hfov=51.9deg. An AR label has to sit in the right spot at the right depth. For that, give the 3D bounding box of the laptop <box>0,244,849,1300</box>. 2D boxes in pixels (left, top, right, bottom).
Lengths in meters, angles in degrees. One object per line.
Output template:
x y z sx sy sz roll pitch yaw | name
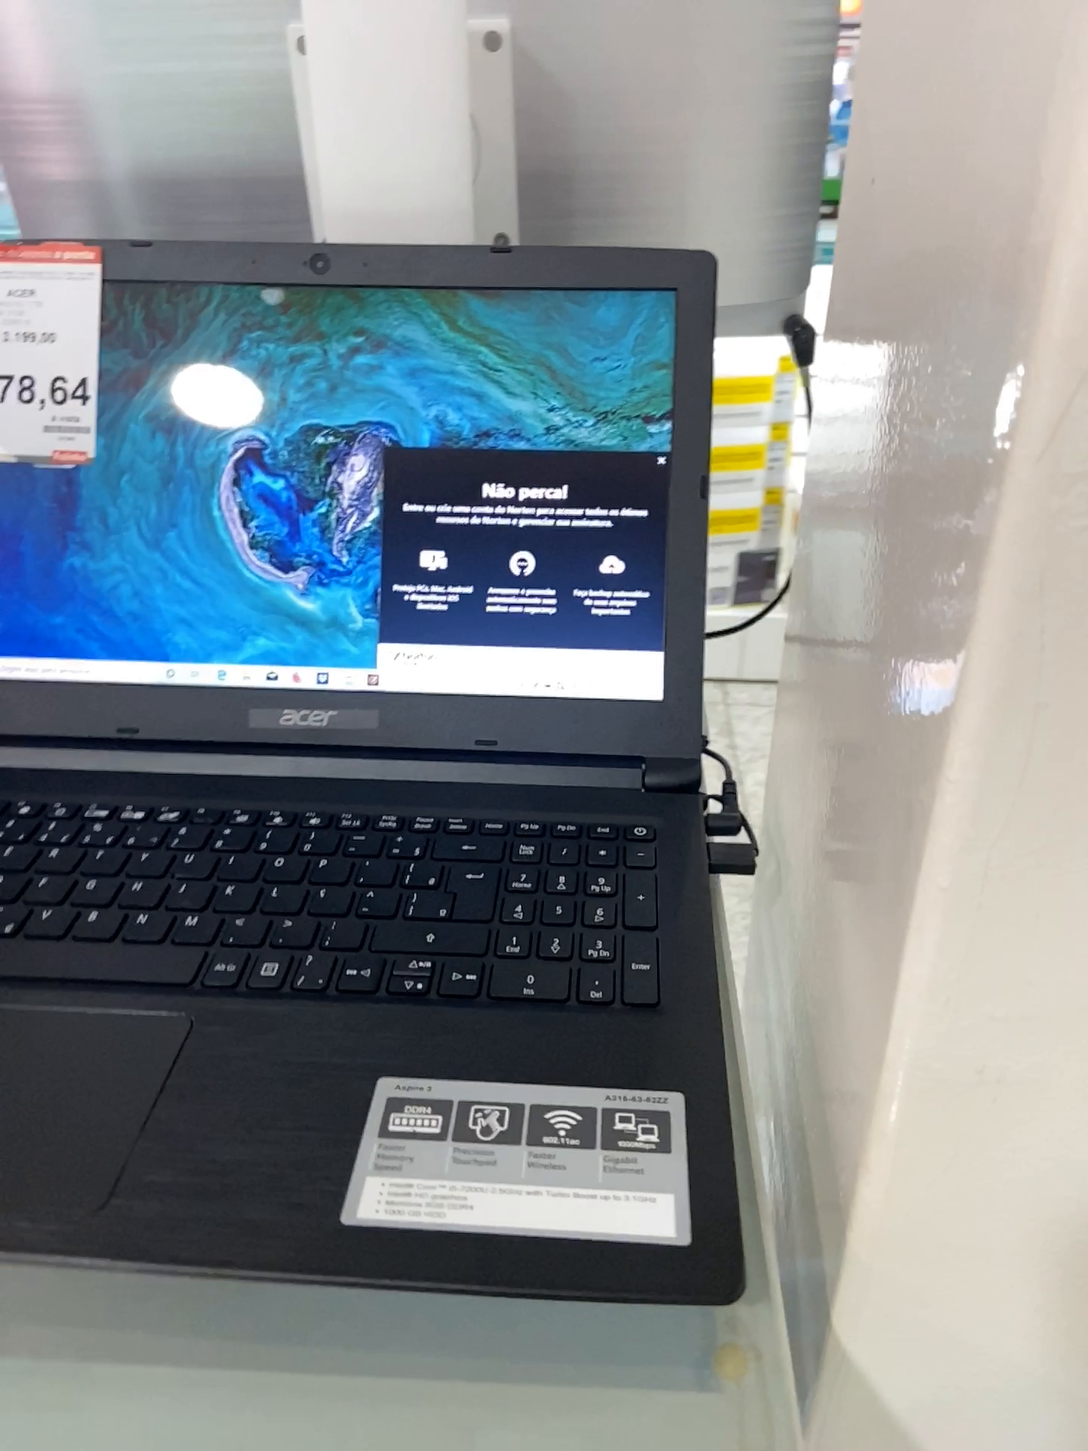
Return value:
-0.117 -0.042 0.419 0.369 0.205 0.377 2 30 4 | laptop
